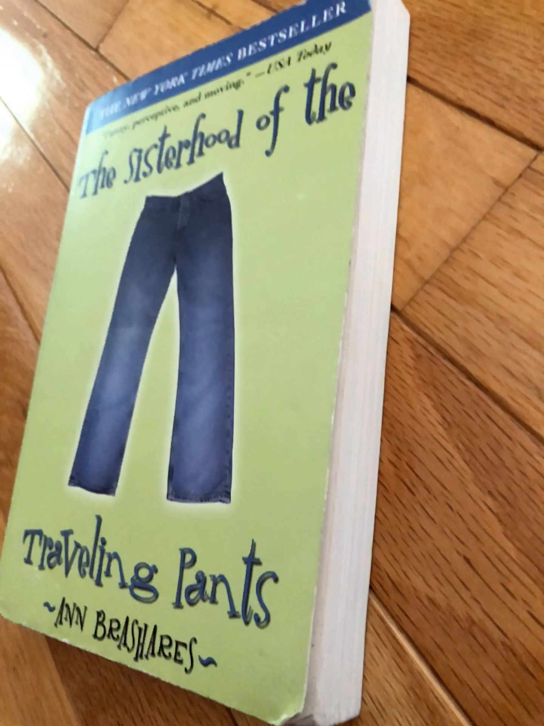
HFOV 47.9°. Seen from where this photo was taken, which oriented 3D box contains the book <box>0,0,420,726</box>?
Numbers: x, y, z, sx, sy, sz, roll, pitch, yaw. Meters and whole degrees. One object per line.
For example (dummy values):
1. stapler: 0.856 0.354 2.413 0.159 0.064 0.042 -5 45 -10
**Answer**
1. book: -0.029 -0.012 0.206 0.142 0.025 0.209 -3 72 36
